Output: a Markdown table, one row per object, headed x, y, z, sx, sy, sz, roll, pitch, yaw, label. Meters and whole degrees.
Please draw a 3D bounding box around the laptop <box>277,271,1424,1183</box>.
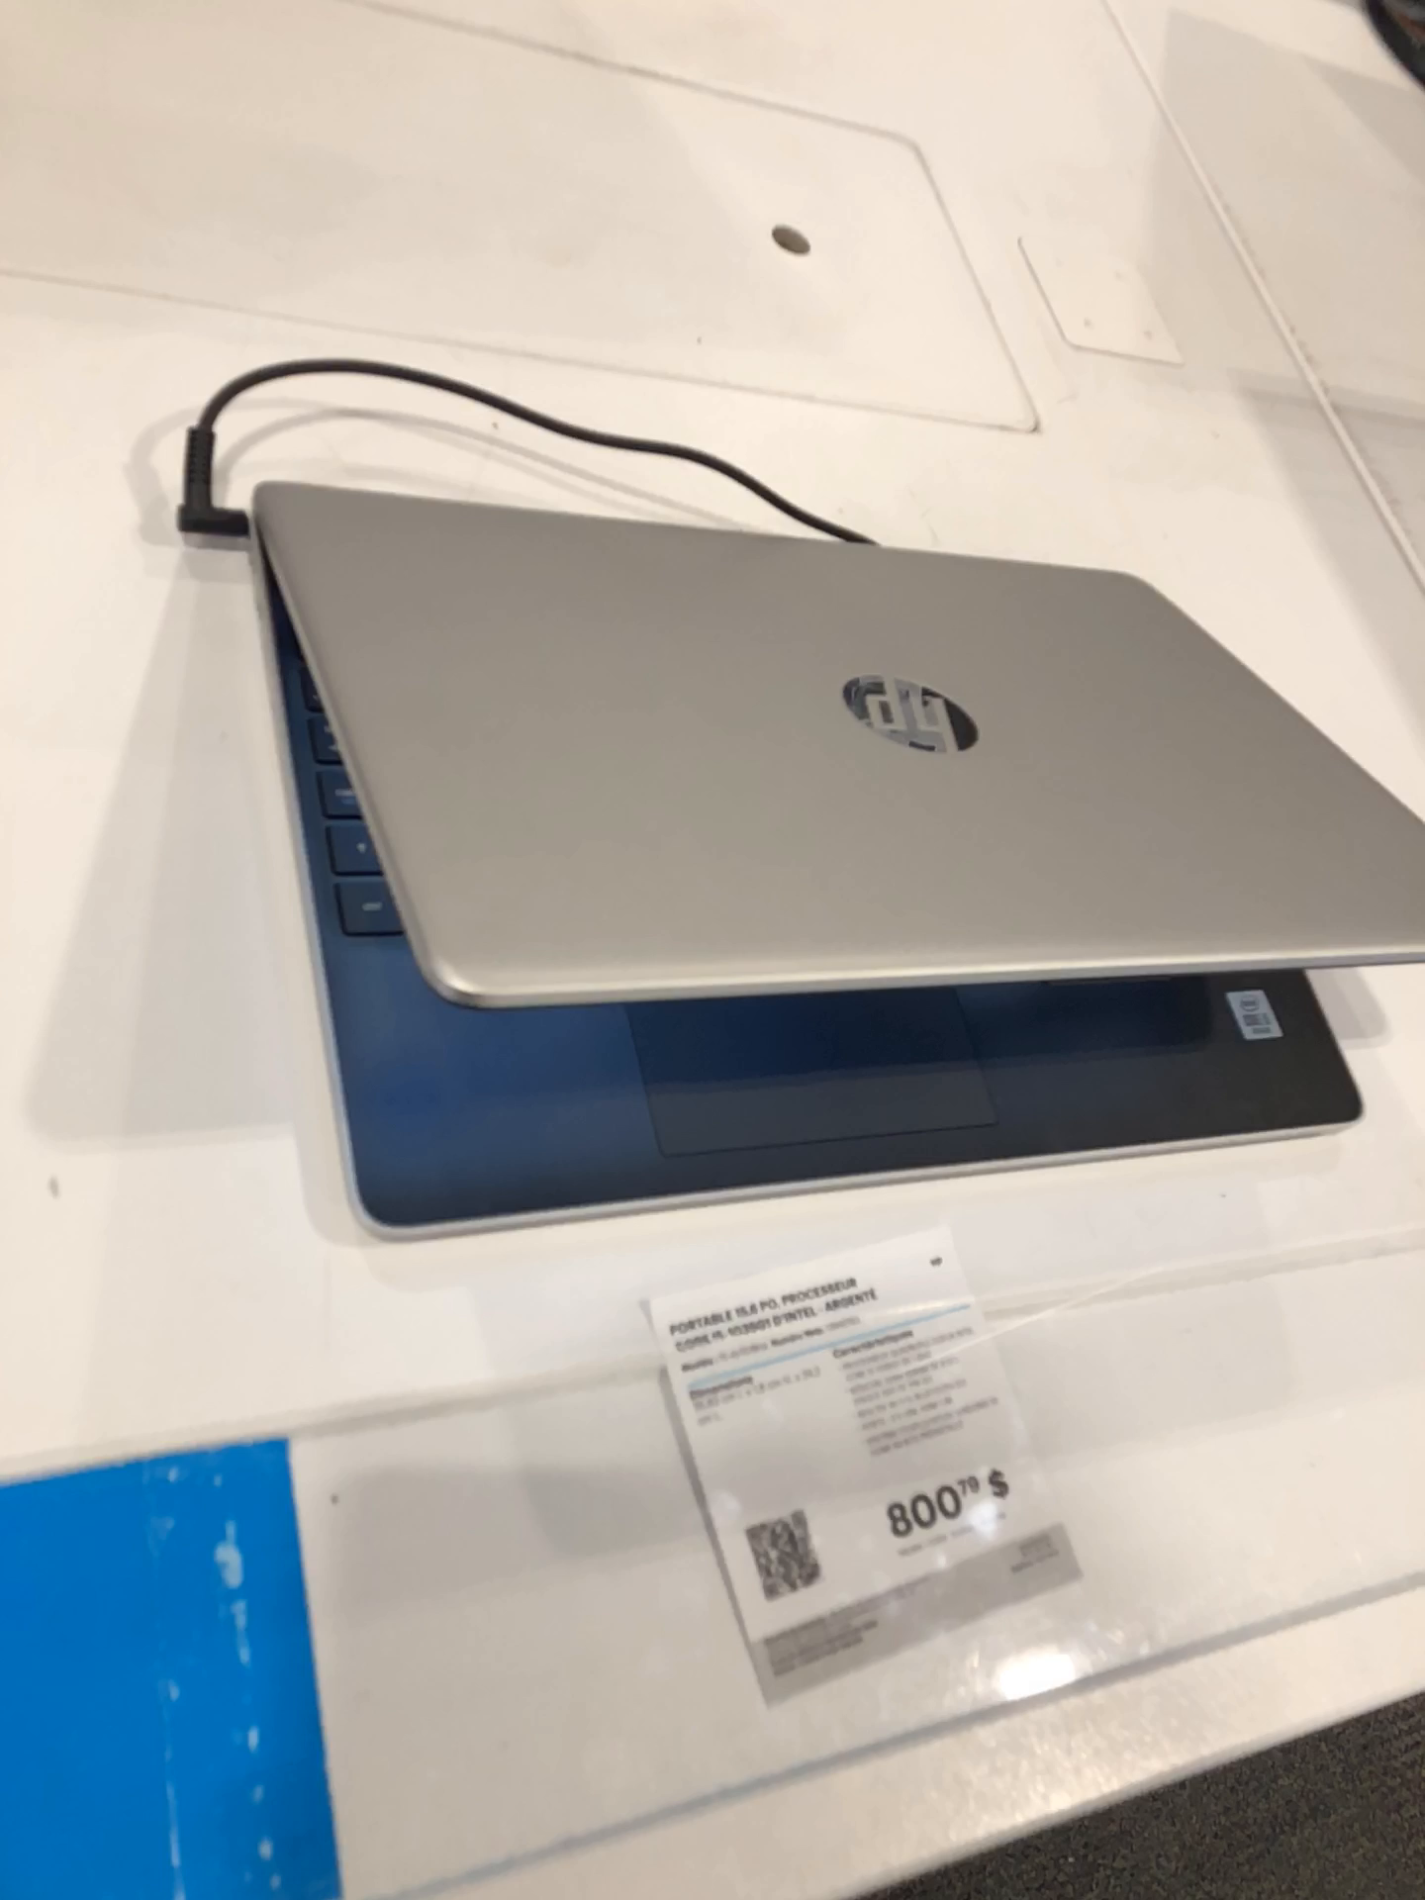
| x | y | z | sx | sy | sz | roll | pitch | yaw | label |
| --- | --- | --- | --- | --- | --- | --- | --- | --- | --- |
| 0.061 | -0.066 | 0.474 | 0.342 | 0.086 | 0.229 | -1 | 61 | -25 | laptop |
